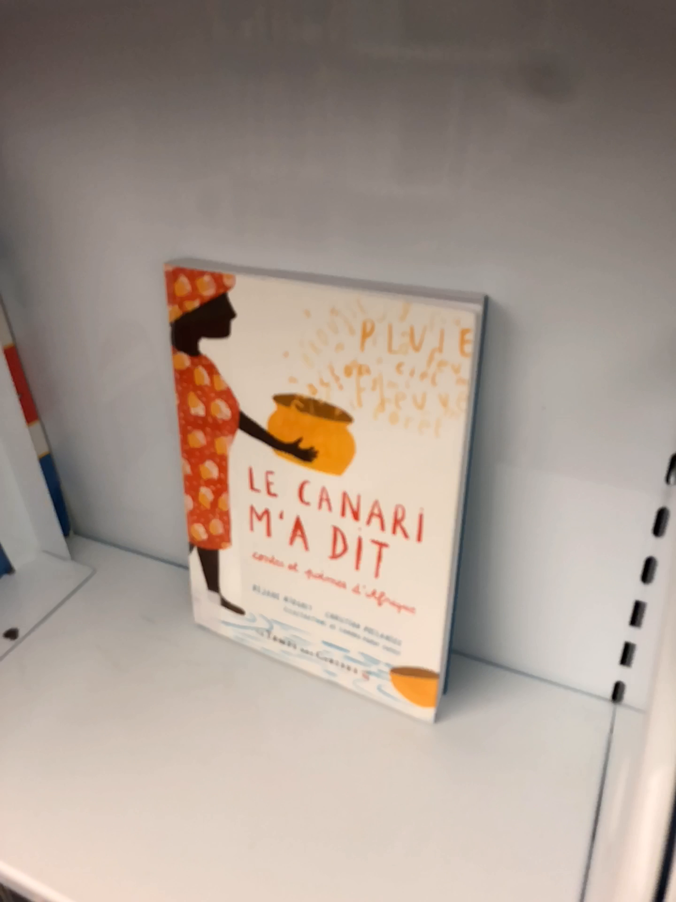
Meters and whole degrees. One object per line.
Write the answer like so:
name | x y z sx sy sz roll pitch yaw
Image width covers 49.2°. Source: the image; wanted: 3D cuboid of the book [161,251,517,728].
book | -0.006 0.018 0.352 0.149 0.199 0.037 15 29 24
